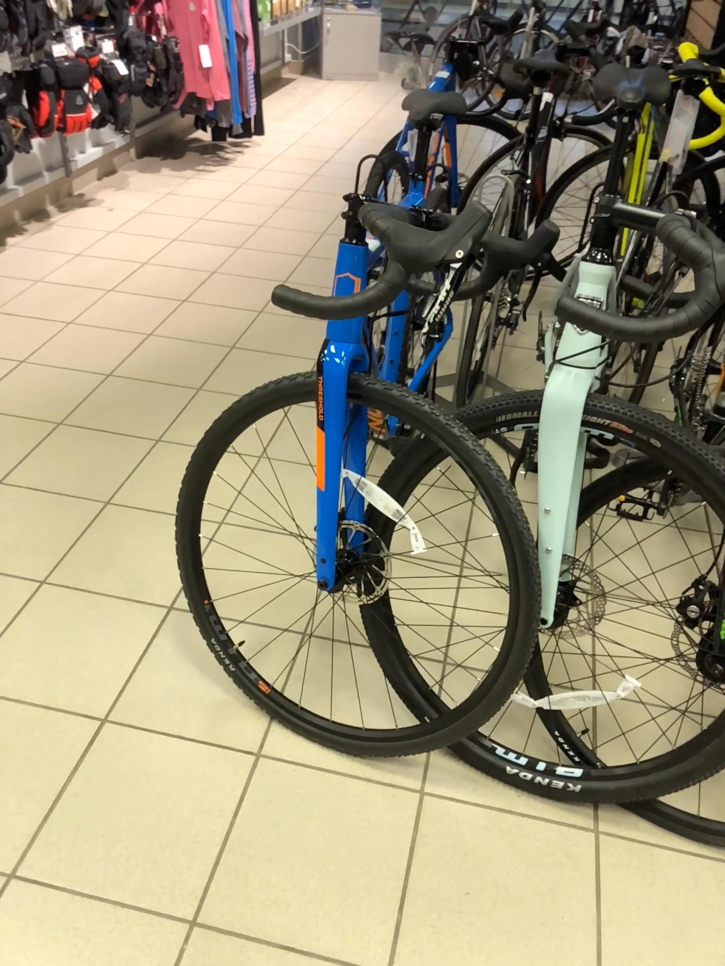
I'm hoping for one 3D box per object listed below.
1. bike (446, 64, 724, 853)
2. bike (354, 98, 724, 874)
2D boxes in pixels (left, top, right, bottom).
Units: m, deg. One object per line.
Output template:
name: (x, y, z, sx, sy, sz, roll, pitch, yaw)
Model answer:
bike: (0.614, -0.236, 1.674, 0.616, 0.870, 1.429, 2, 37, -1)
bike: (0.259, -0.170, 1.801, 0.524, 0.805, 1.478, 2, 41, 0)
